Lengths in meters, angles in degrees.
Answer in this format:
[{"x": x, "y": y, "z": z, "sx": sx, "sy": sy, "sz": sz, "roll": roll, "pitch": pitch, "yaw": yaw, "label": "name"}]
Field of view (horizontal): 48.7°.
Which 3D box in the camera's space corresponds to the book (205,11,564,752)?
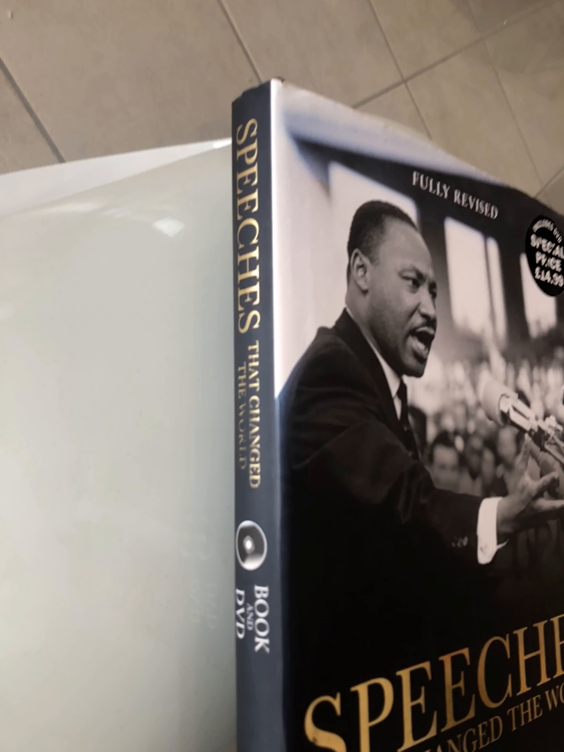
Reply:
[{"x": 0.071, "y": 0.042, "z": 0.252, "sx": 0.211, "sy": 0.040, "sz": 0.290, "roll": 6, "pitch": 78, "yaw": -40, "label": "book"}]
